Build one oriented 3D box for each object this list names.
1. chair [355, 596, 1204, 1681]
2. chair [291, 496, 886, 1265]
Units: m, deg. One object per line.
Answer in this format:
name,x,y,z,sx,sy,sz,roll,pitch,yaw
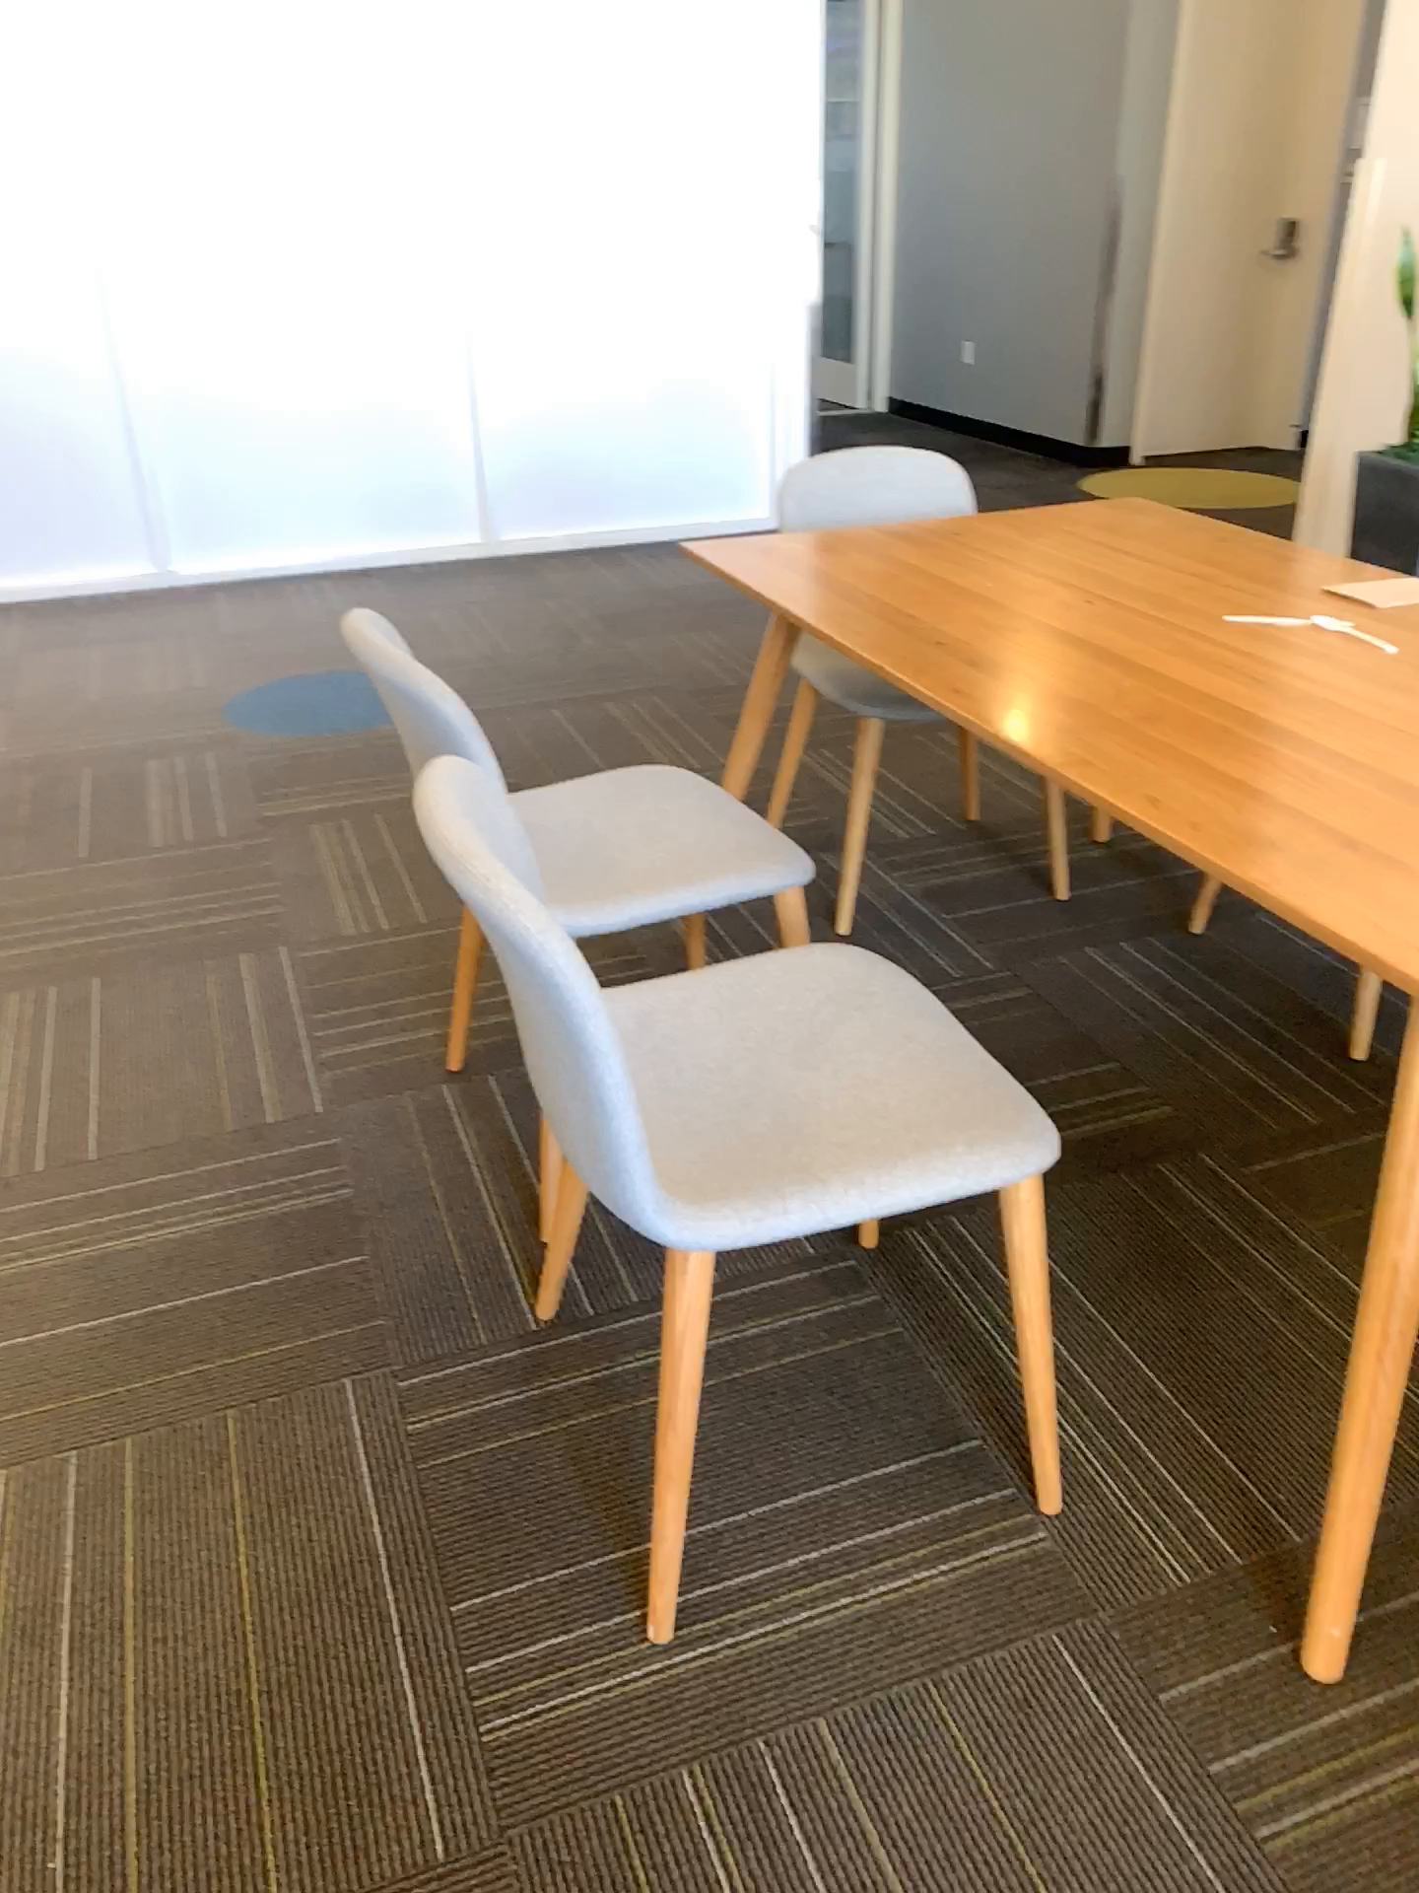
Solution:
chair,0.042,0.145,1.488,0.580,0.805,0.573,-13,29,-18
chair,-0.157,-0.133,2.023,0.580,0.805,0.573,-16,31,-22
